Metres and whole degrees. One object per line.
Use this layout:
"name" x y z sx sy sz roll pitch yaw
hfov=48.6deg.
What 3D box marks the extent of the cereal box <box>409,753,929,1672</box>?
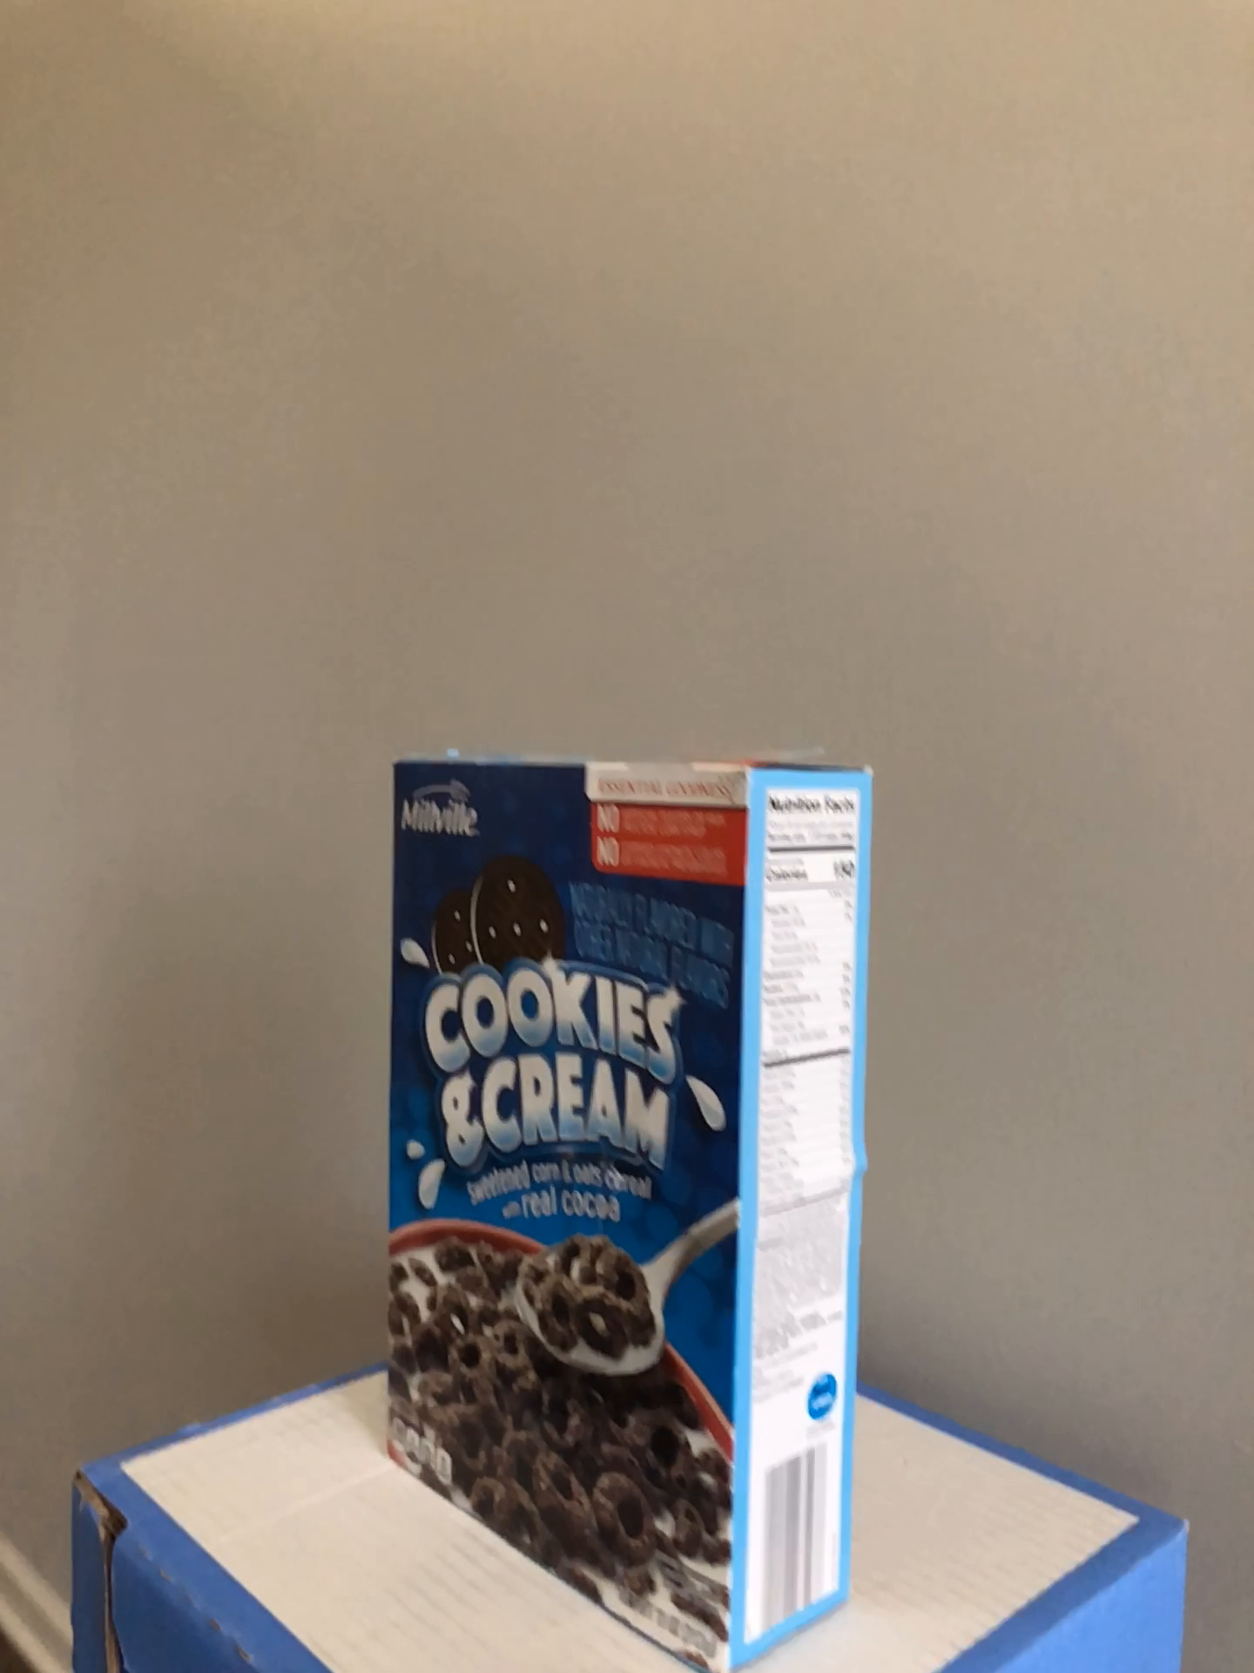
"cereal box" 0.006 0.125 0.529 0.070 0.310 0.200 -1 3 -43
